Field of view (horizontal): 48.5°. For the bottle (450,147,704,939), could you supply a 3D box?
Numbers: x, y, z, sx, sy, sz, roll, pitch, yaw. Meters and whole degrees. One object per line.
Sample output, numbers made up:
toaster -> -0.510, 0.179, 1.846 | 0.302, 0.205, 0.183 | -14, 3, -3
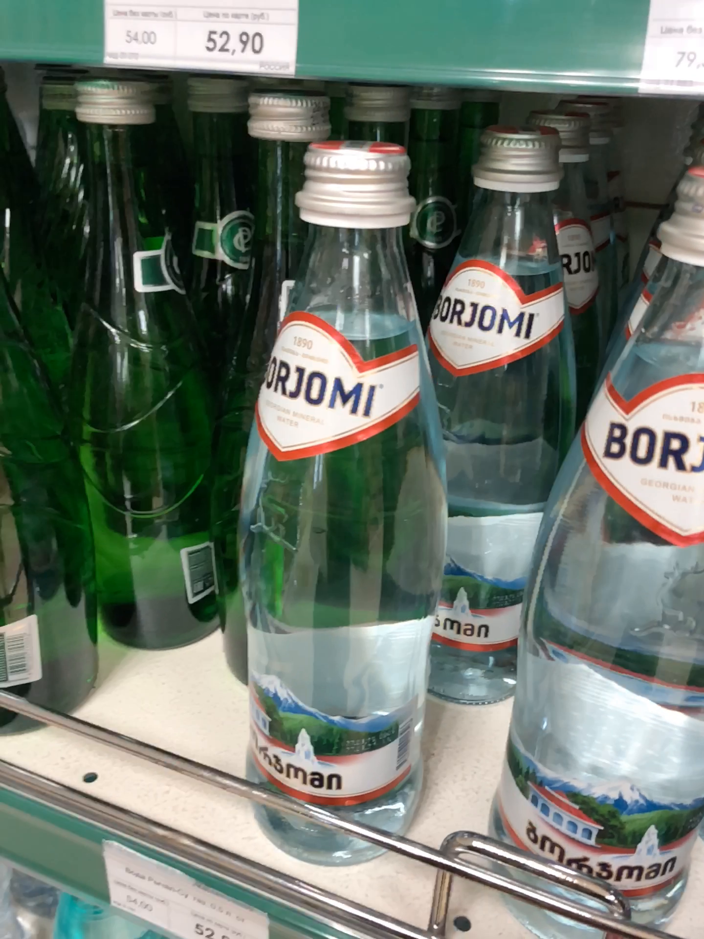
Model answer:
bottle -> 0.085, 0.038, 0.226 | 0.069, 0.236, 0.065 | 2, 26, -1

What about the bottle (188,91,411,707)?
bottle -> -0.026, -0.022, 0.322 | 0.065, 0.237, 0.069 | 2, 26, -1

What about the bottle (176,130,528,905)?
bottle -> -0.003, 0.022, 0.253 | 0.068, 0.236, 0.063 | 2, 26, -1
